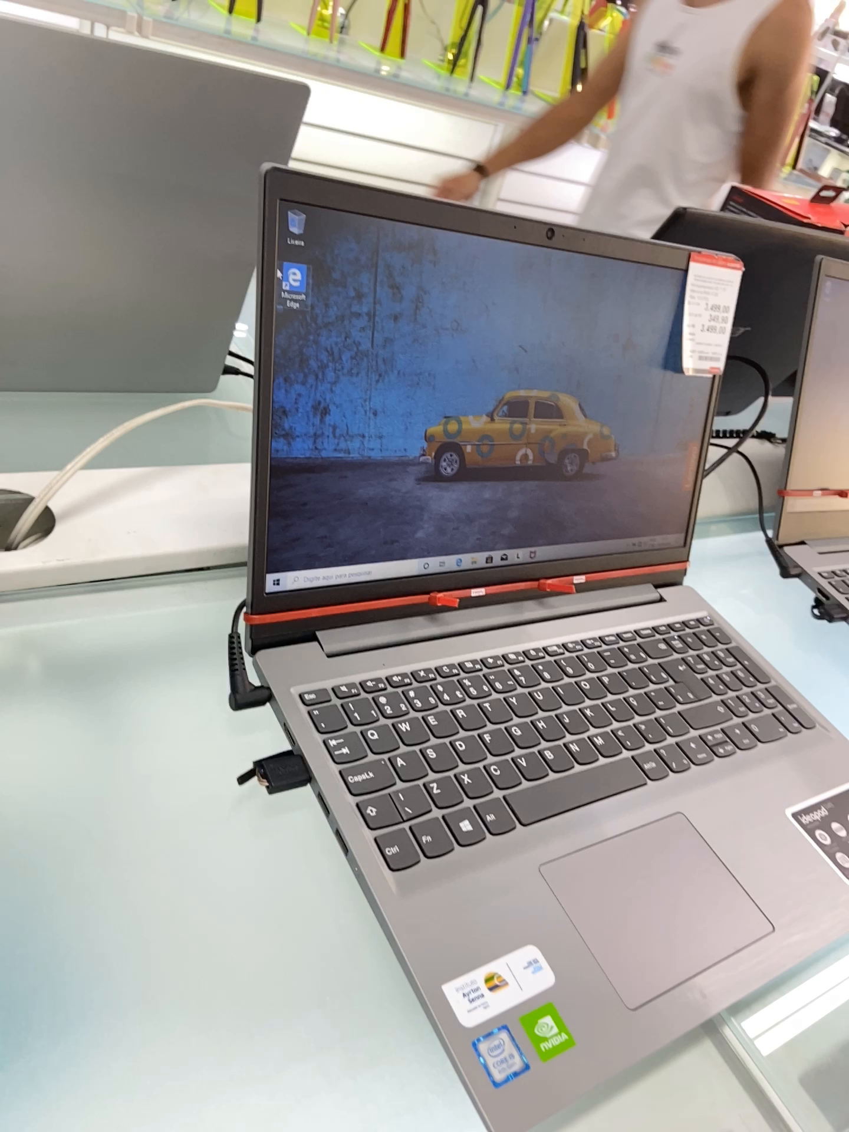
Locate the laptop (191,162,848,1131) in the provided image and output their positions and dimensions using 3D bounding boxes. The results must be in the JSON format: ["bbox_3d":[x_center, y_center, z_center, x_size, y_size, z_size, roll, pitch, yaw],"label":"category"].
[{"bbox_3d":[0.123,-0.007,0.463,0.365,0.214,0.352,-6,43,-34],"label":"laptop"}]
